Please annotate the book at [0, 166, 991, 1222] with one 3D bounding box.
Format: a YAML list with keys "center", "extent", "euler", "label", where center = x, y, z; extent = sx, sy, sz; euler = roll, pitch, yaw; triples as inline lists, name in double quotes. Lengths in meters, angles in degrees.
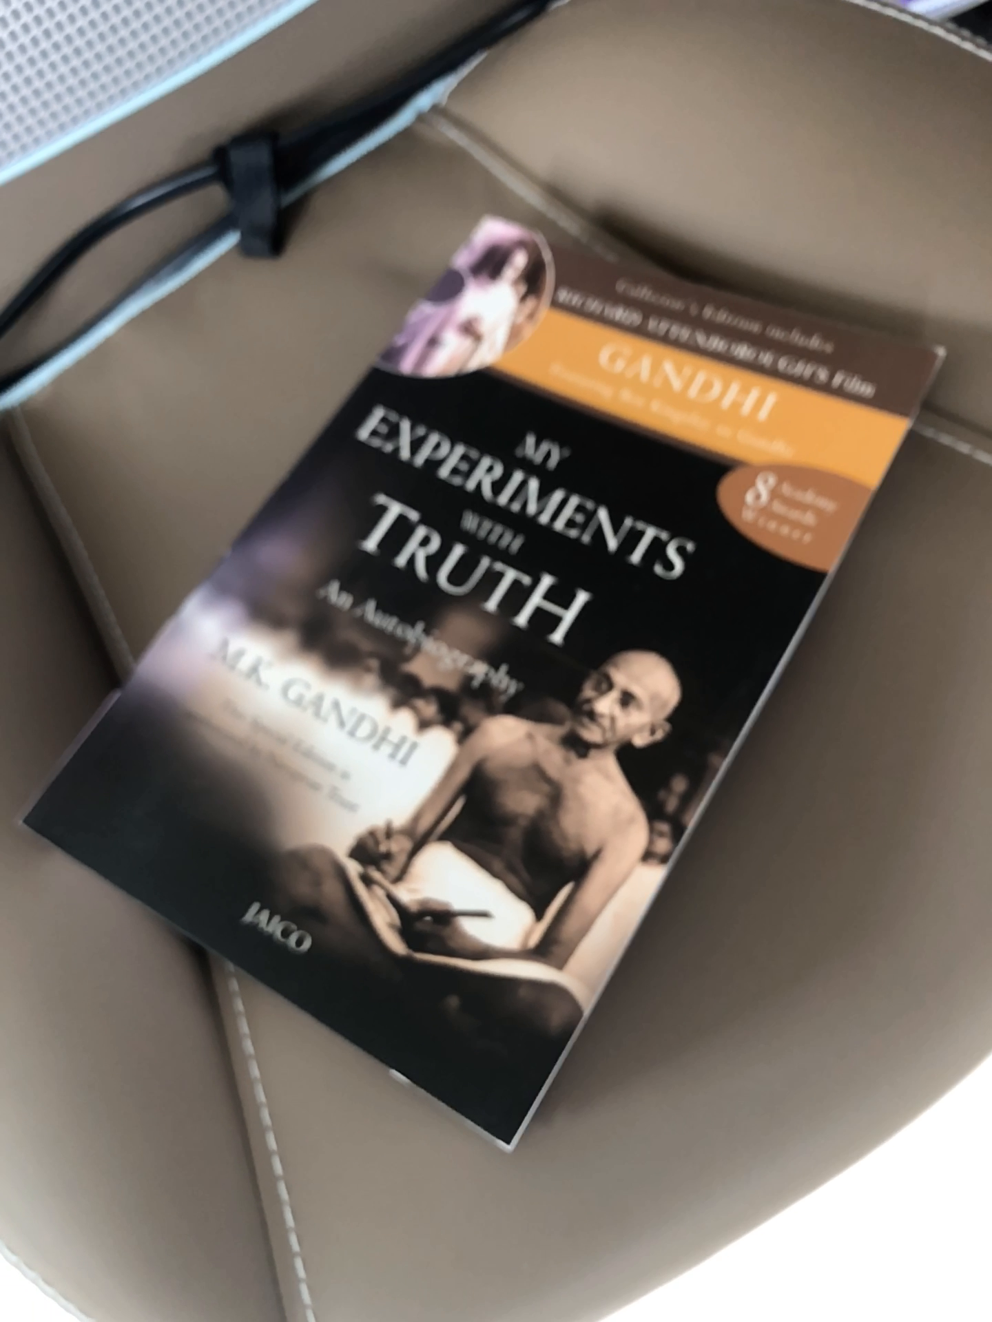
- center: [0.006, -0.009, 0.301]
  extent: [0.150, 0.050, 0.240]
  euler: [27, 72, 18]
  label: "book"
